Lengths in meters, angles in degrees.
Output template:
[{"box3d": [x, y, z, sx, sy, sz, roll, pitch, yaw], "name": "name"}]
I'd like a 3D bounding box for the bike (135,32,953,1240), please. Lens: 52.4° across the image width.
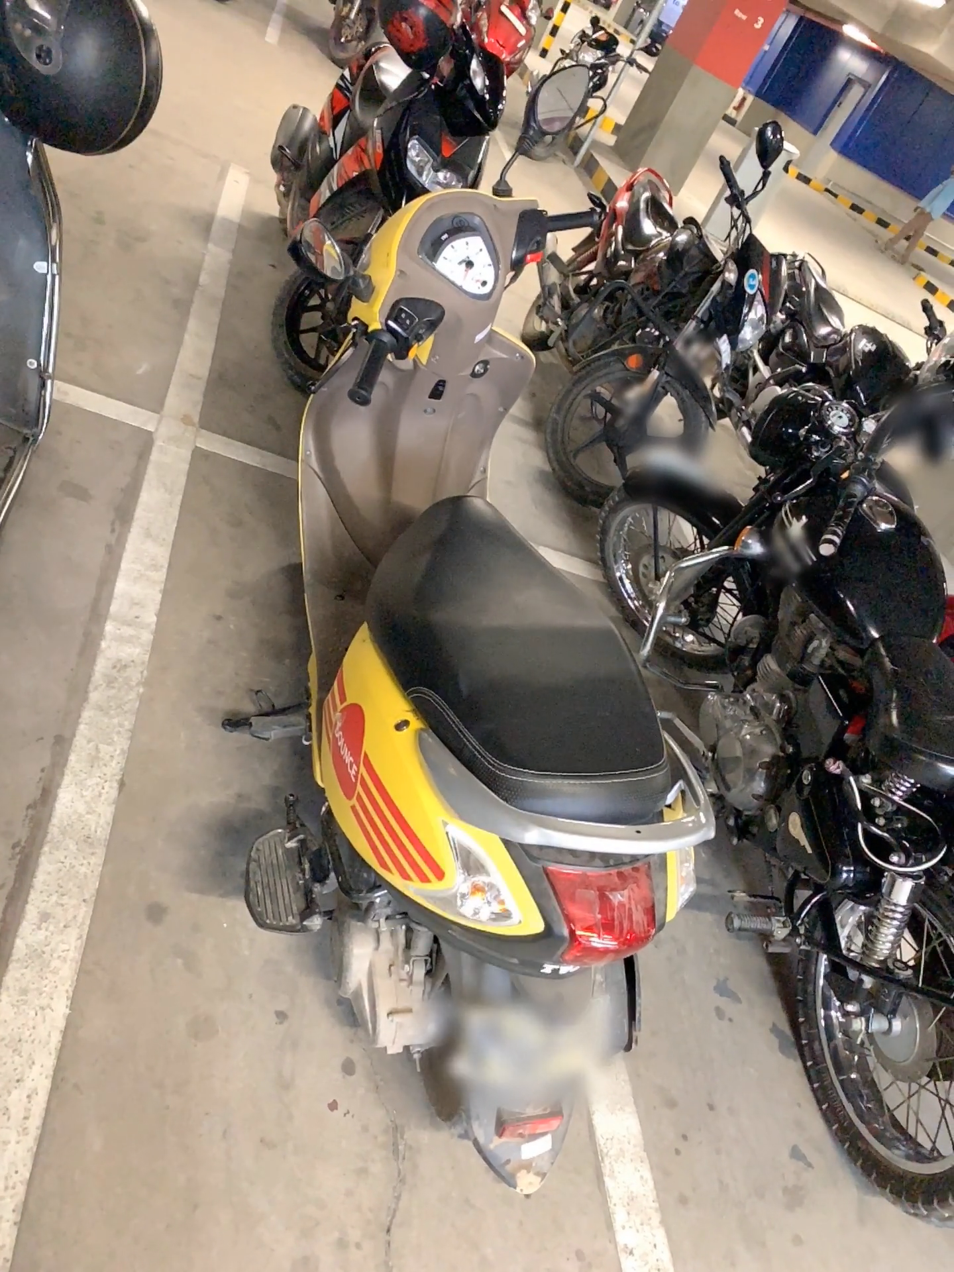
[{"box3d": [-0.120, -0.173, 1.646, 0.567, 1.048, 1.710, 13, 36, -26], "name": "bike"}]
